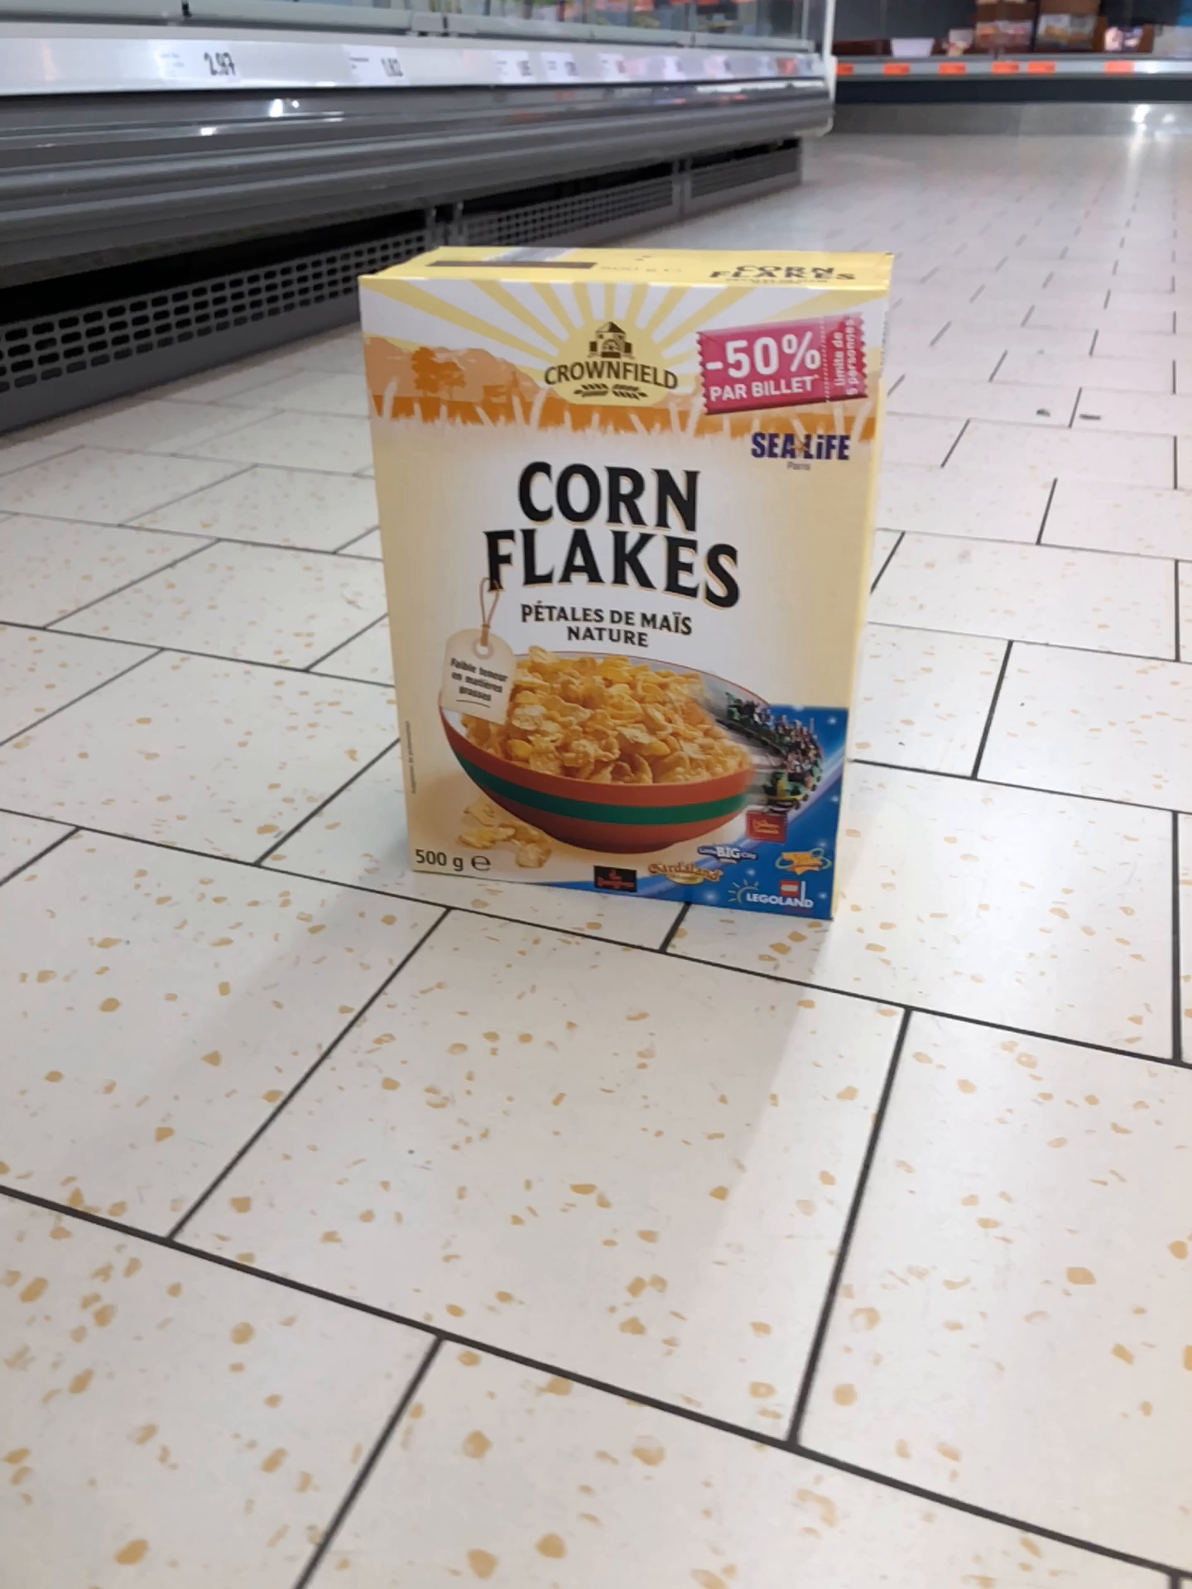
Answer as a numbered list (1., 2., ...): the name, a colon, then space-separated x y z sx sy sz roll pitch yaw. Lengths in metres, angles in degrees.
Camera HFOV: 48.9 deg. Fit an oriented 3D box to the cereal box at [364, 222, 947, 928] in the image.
1. cereal box: 0.028 -0.092 0.545 0.200 0.259 0.101 6 28 11
